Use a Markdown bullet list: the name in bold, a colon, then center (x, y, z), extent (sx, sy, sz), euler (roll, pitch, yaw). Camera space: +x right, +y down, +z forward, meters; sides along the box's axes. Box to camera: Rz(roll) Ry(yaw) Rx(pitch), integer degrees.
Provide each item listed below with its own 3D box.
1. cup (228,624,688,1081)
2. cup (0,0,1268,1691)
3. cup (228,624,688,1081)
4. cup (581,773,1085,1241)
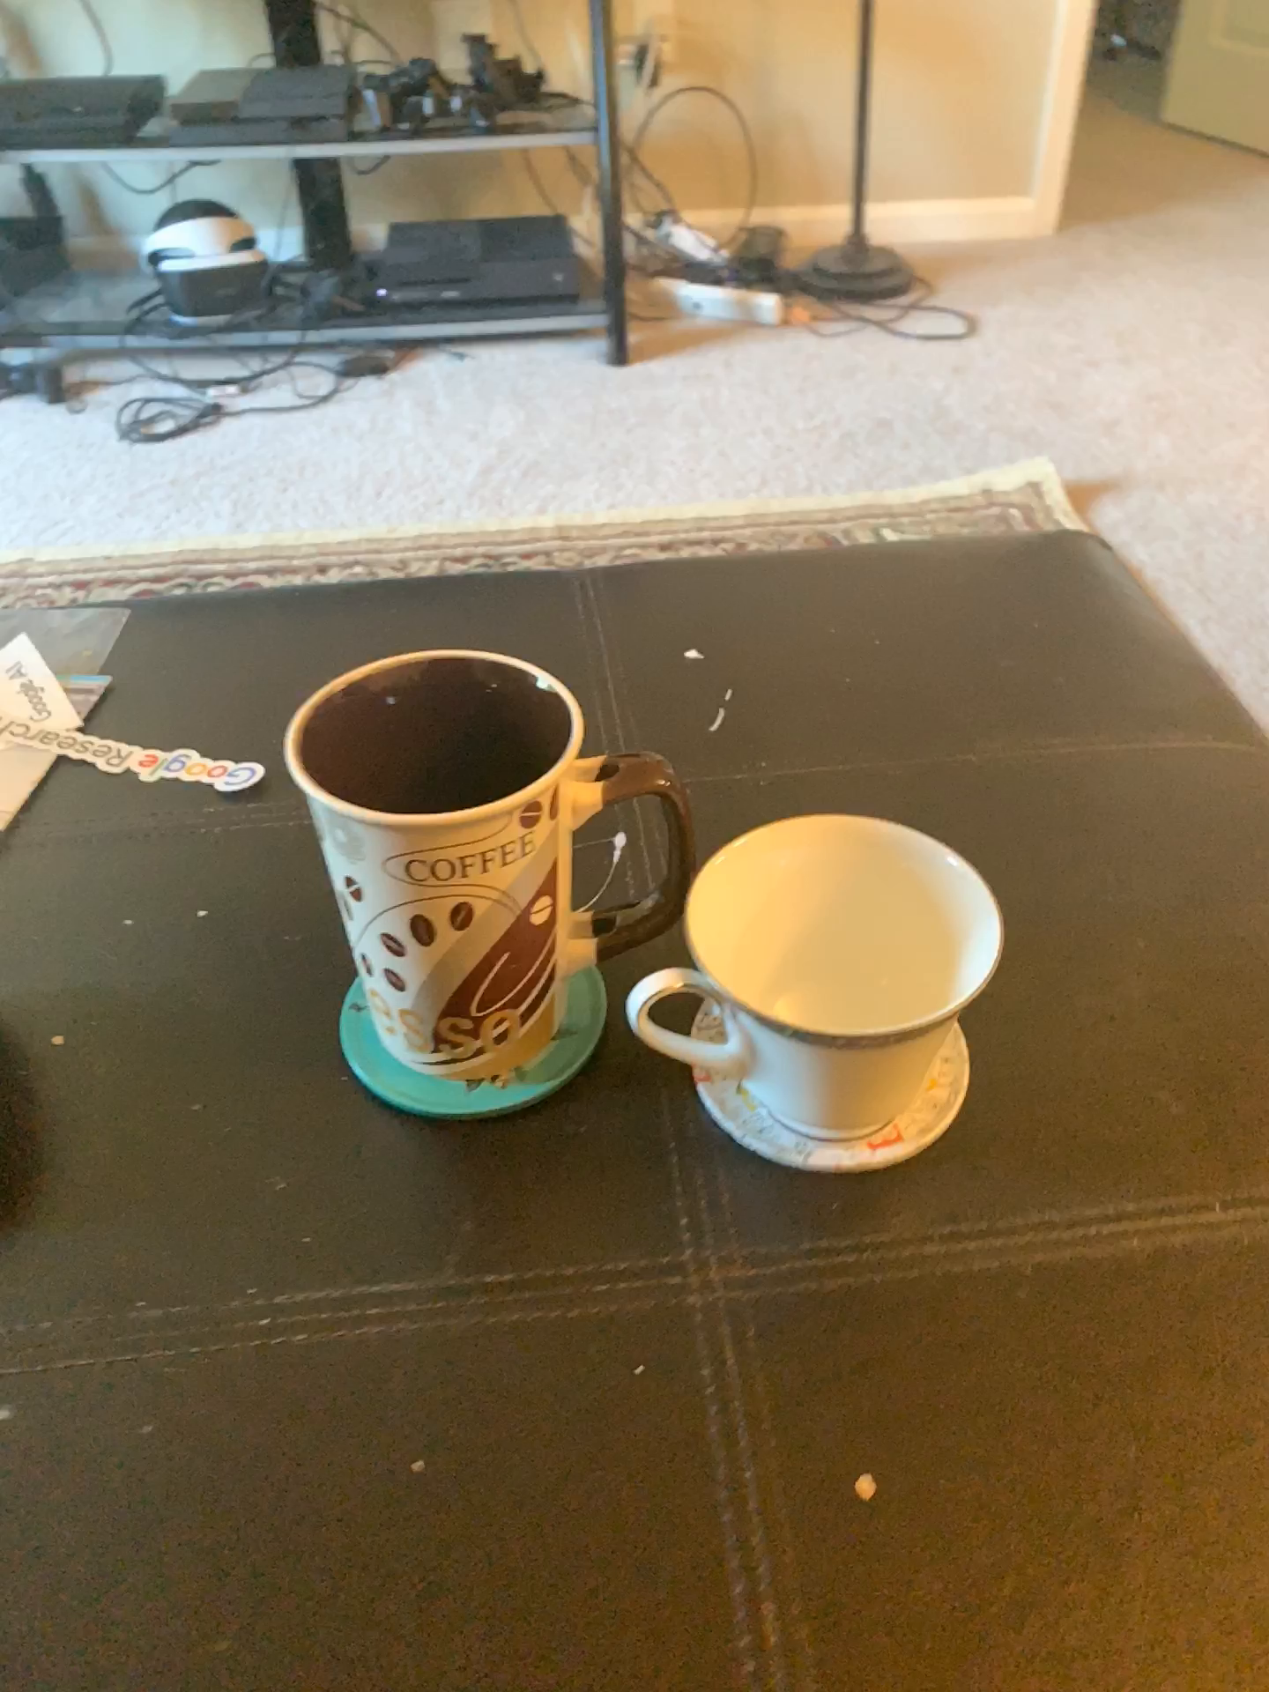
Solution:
- **cup**: center (-0.047, 0.002, 0.408), extent (0.120, 0.109, 0.080), euler (-3, 39, -2)
- **cup**: center (-0.047, 0.002, 0.408), extent (39.248, 9.443, 0.299), euler (-3, 39, -2)
- **cup**: center (-0.047, 0.002, 0.408), extent (0.120, 0.109, 0.080), euler (-3, 39, -2)
- **cup**: center (0.051, 0.043, 0.379), extent (0.110, 0.070, 0.091), euler (-11, 40, -11)
